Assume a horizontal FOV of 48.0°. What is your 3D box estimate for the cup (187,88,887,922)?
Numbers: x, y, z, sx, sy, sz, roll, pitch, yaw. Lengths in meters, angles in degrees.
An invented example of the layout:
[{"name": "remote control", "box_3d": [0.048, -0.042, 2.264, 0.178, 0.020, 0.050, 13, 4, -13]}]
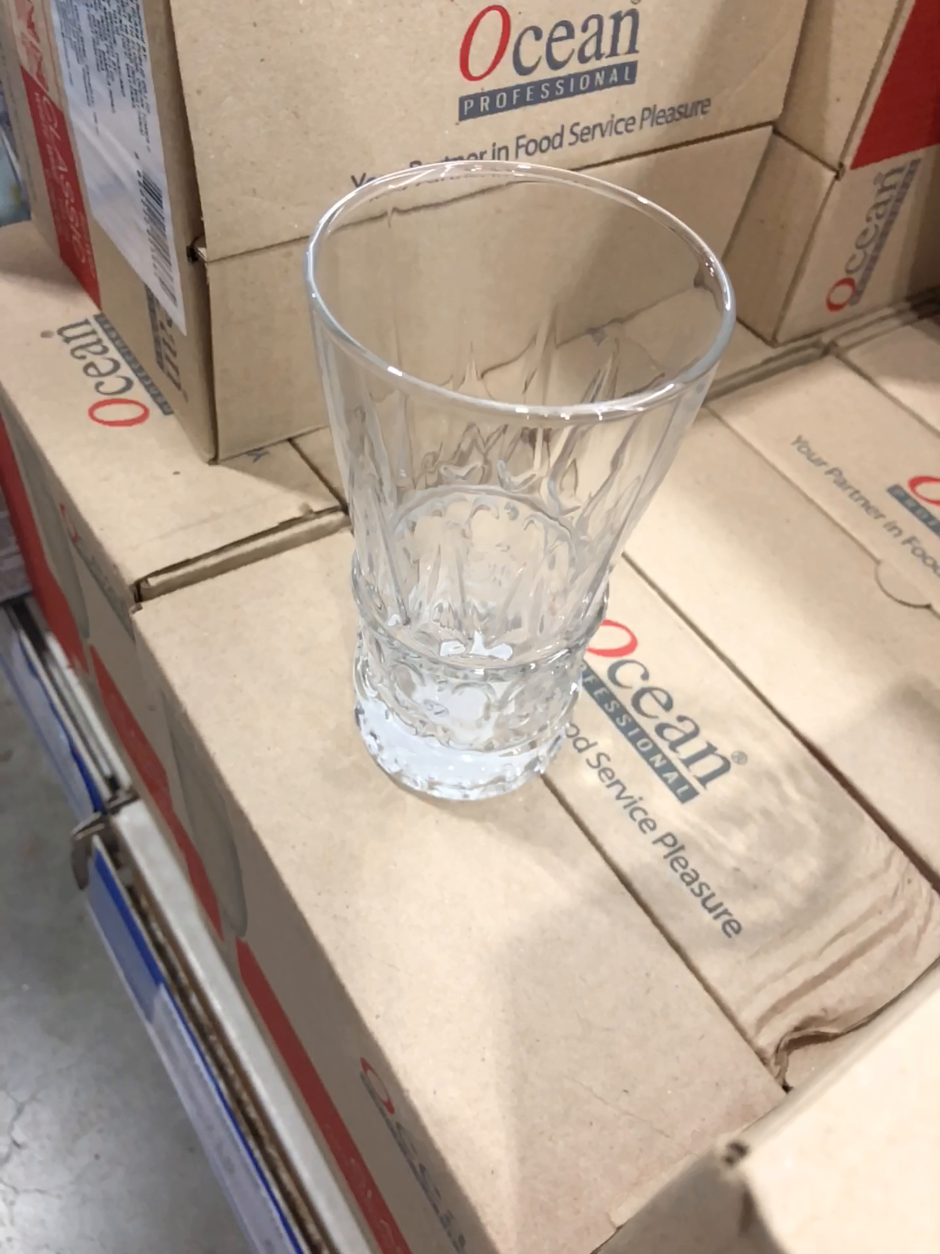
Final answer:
[{"name": "cup", "box_3d": [0.014, -0.024, 0.238, 0.100, 0.129, 0.100, 4, 49, -4]}]
